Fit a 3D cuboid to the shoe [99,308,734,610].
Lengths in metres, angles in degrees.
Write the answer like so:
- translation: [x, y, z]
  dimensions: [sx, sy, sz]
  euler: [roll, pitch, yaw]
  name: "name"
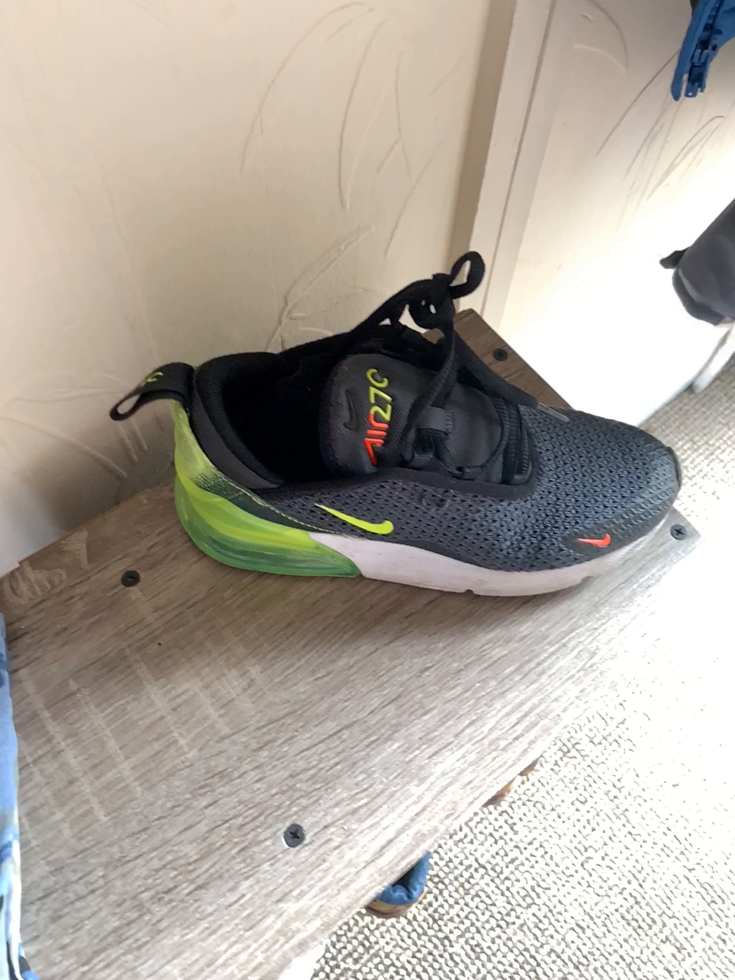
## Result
- translation: [0.025, -0.009, 0.342]
  dimensions: [0.247, 0.109, 0.091]
  euler: [0, 61, -3]
  name: "shoe"
